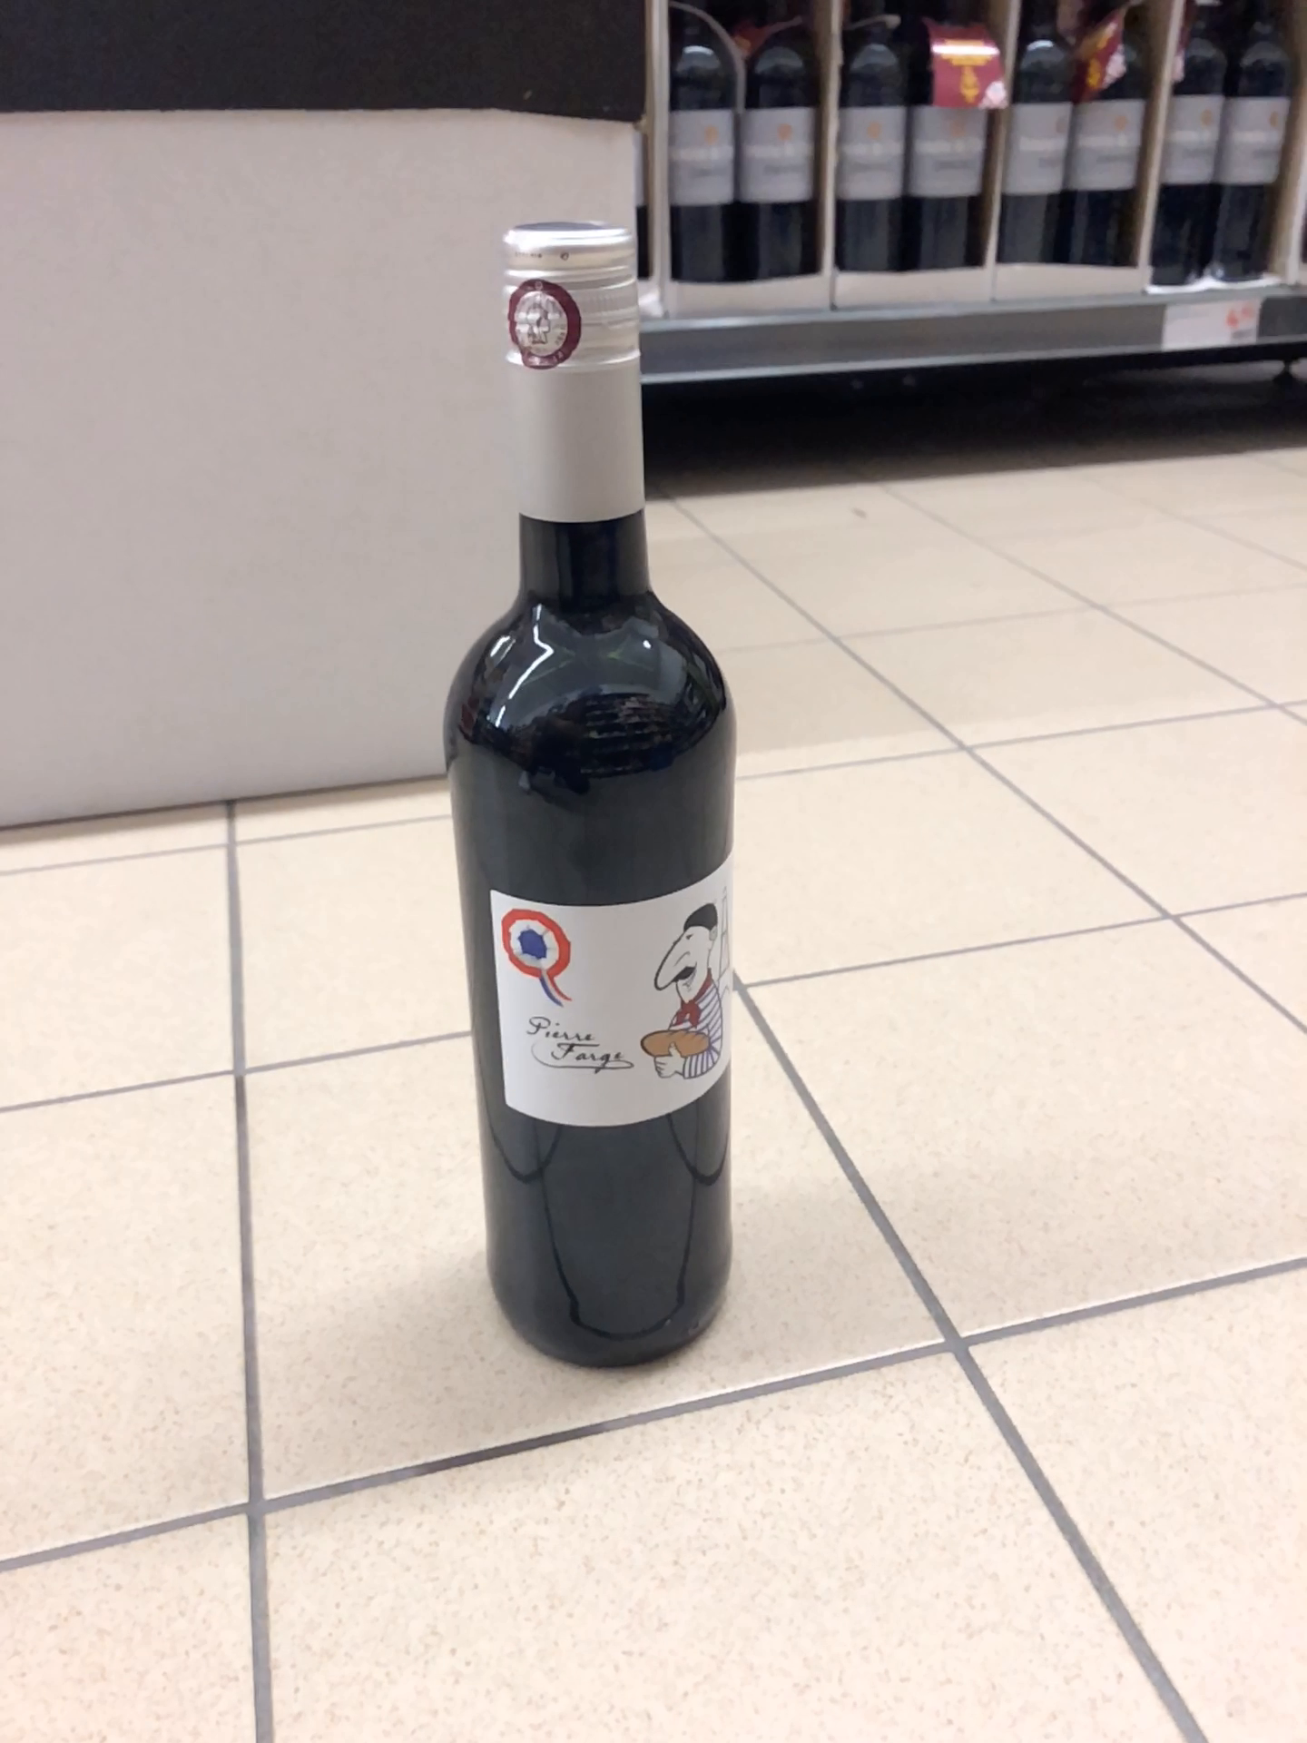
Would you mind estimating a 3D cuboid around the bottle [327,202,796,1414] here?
[{"bbox_3d":[-0.021,-0.007,0.377,0.080,0.298,0.080,-1,27,0],"label":"bottle"}]
